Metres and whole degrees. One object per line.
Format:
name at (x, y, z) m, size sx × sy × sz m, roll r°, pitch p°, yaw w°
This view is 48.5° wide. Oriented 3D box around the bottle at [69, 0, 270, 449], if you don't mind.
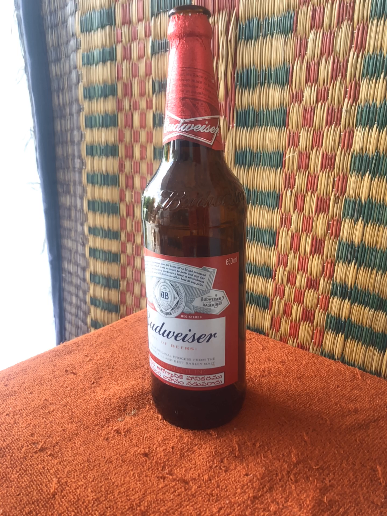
bottle at (-0.010, -0.020, 0.284) m, size 0.090 × 0.259 × 0.070 m, roll 14°, pitch 24°, yaw 38°
